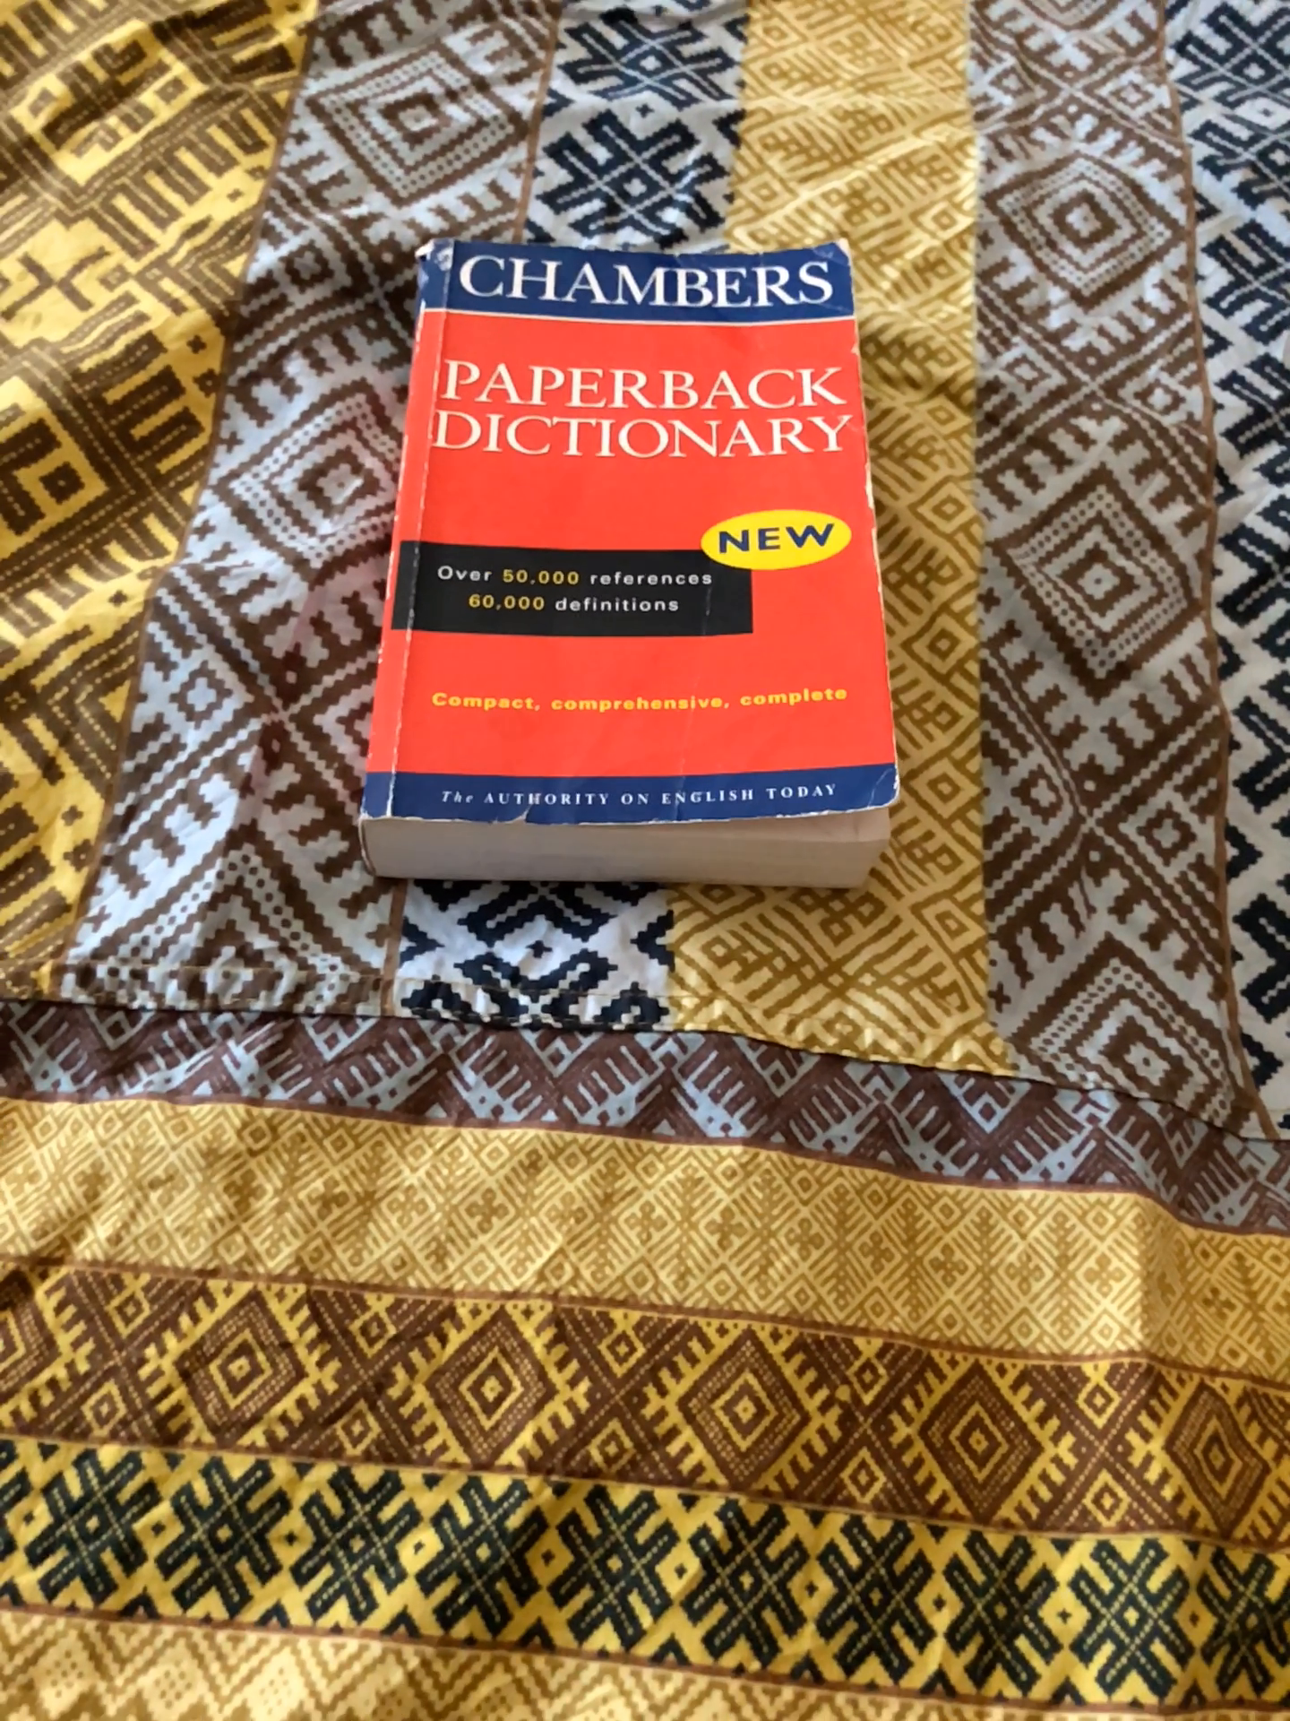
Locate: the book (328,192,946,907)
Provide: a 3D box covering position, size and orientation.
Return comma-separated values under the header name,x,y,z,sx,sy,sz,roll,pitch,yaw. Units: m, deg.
name,x,y,z,sx,sy,sz,roll,pitch,yaw
book,-0.003,-0.074,0.326,0.117,0.044,0.166,0,64,-2
